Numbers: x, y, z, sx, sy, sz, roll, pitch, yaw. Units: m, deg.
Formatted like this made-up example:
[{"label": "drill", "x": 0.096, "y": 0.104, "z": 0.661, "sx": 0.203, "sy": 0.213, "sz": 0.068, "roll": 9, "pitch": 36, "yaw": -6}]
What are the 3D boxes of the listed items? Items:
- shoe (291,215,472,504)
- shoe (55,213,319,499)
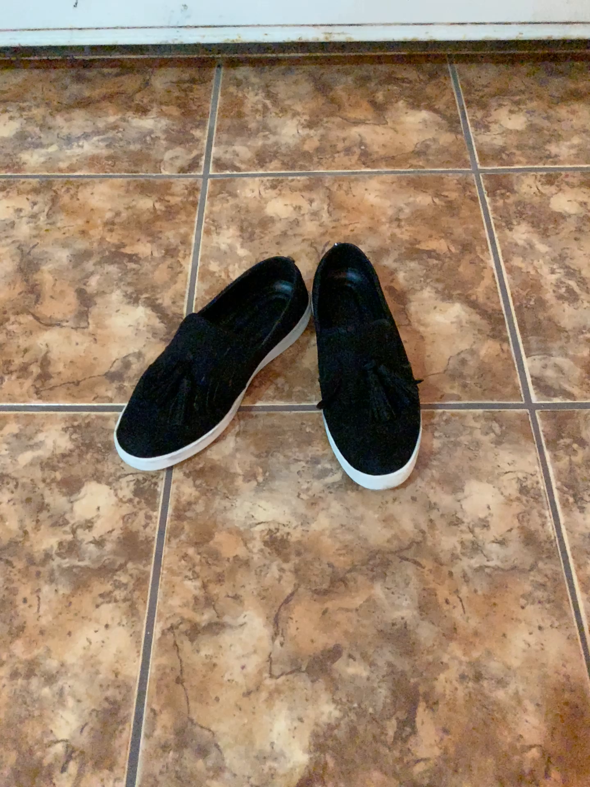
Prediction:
[{"label": "shoe", "x": 0.066, "y": -0.039, "z": 0.558, "sx": 0.097, "sy": 0.094, "sz": 0.250, "roll": -9, "pitch": 57, "yaw": -4}, {"label": "shoe", "x": -0.084, "y": -0.043, "z": 0.564, "sx": 0.097, "sy": 0.094, "sz": 0.250, "roll": 28, "pitch": 62, "yaw": 18}]
